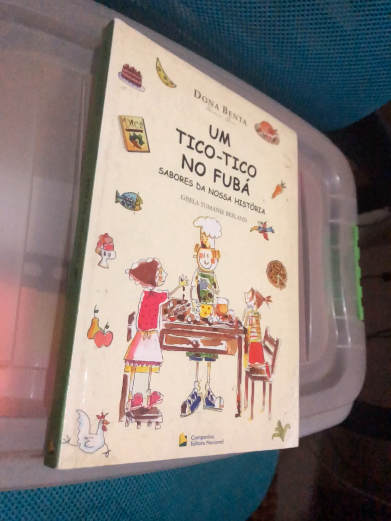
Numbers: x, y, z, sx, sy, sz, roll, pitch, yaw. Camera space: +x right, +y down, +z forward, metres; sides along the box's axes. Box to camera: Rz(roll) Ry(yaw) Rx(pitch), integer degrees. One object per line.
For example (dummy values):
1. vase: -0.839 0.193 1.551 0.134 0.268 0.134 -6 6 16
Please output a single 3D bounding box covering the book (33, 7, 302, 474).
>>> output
1. book: 0.006 -0.005 0.270 0.172 0.020 0.232 16 72 -40
